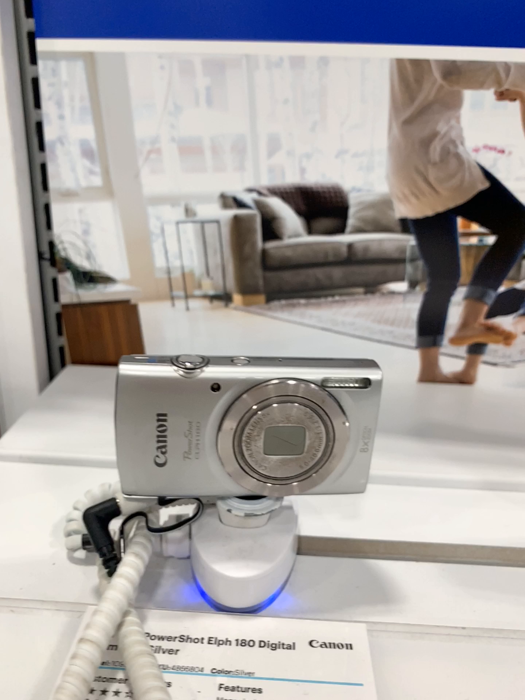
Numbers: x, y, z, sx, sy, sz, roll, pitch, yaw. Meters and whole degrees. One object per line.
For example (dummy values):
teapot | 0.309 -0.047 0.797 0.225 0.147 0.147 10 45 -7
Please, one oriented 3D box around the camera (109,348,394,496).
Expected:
camera | -0.005 0.027 0.211 0.098 0.051 0.022 1 26 -6
